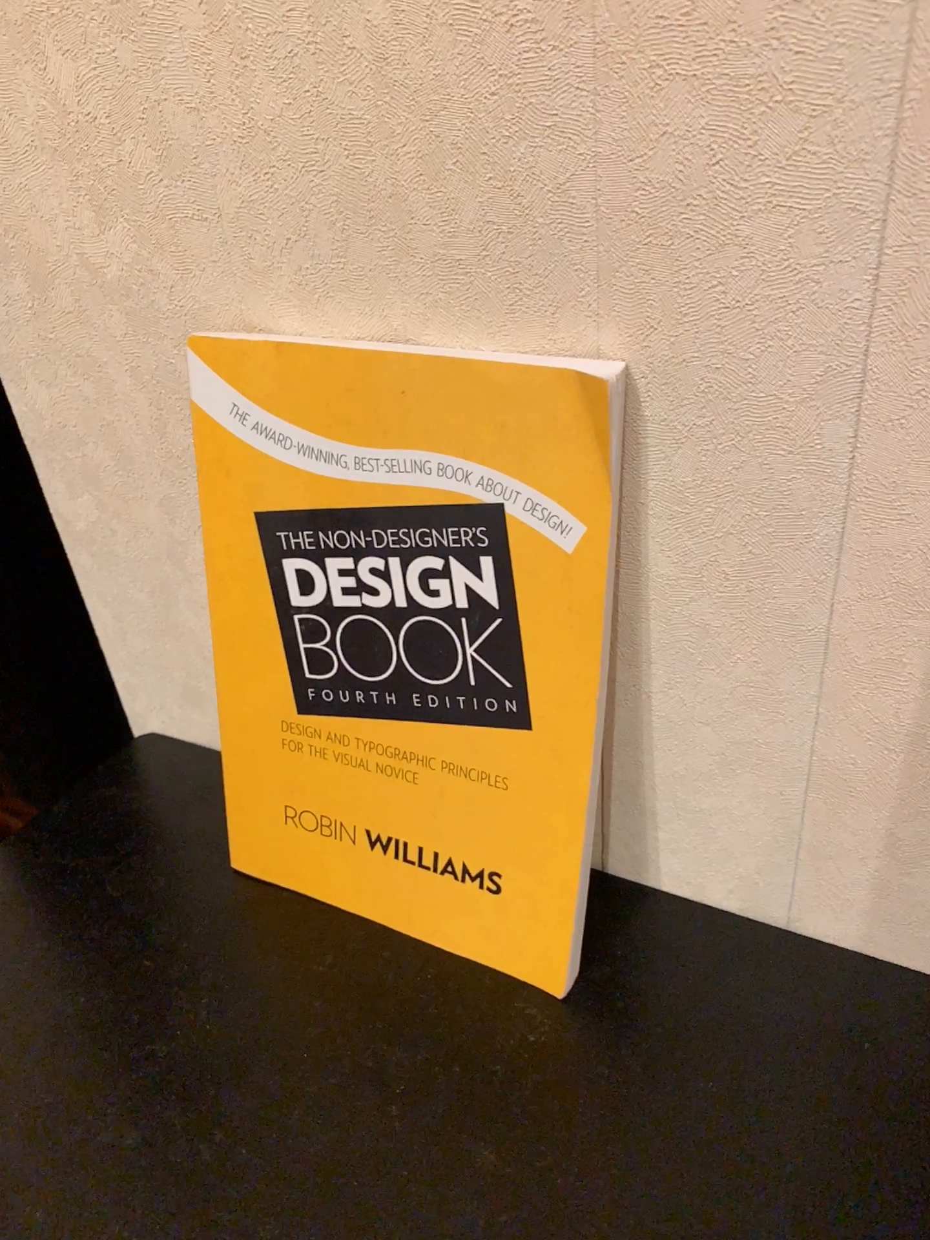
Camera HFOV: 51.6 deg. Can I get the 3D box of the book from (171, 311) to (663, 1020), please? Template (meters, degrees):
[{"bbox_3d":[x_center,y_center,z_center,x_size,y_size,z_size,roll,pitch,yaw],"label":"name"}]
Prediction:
[{"bbox_3d":[-0.028,0.015,0.393,0.190,0.259,0.030,13,24,27],"label":"book"}]
